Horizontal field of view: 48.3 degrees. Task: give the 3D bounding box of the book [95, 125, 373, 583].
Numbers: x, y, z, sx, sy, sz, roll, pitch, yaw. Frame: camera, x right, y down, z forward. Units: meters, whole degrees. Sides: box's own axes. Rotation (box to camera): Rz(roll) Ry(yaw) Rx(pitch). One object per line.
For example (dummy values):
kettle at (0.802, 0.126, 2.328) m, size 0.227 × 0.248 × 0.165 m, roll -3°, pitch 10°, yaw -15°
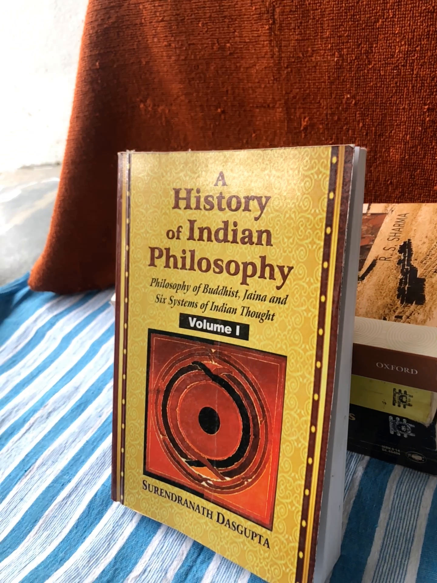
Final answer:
book at (-0.001, 0.029, 0.271) m, size 0.141 × 0.216 × 0.048 m, roll 8°, pitch 8°, yaw 36°
